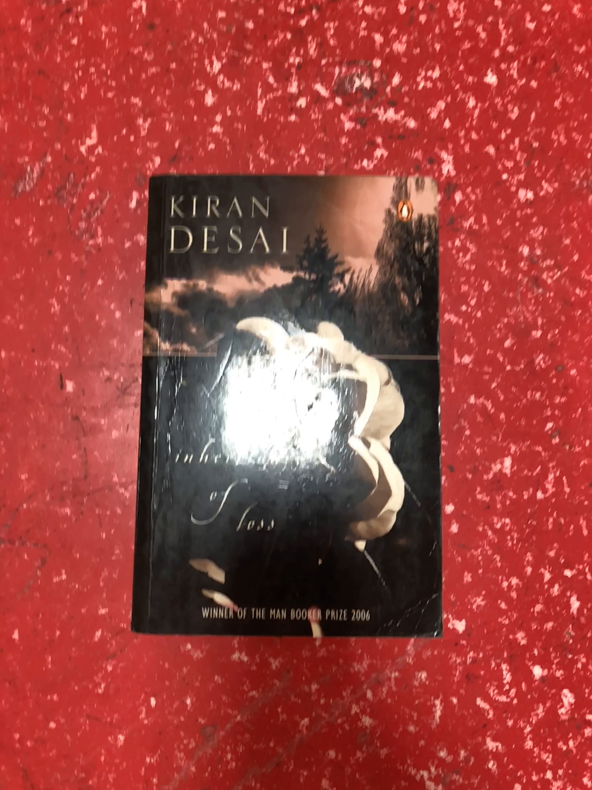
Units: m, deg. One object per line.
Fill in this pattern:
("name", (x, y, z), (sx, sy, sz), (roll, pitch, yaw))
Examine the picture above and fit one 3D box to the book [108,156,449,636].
("book", (-0.005, 0.000, 0.292), (0.130, 0.060, 0.190), (1, 84, 1))
